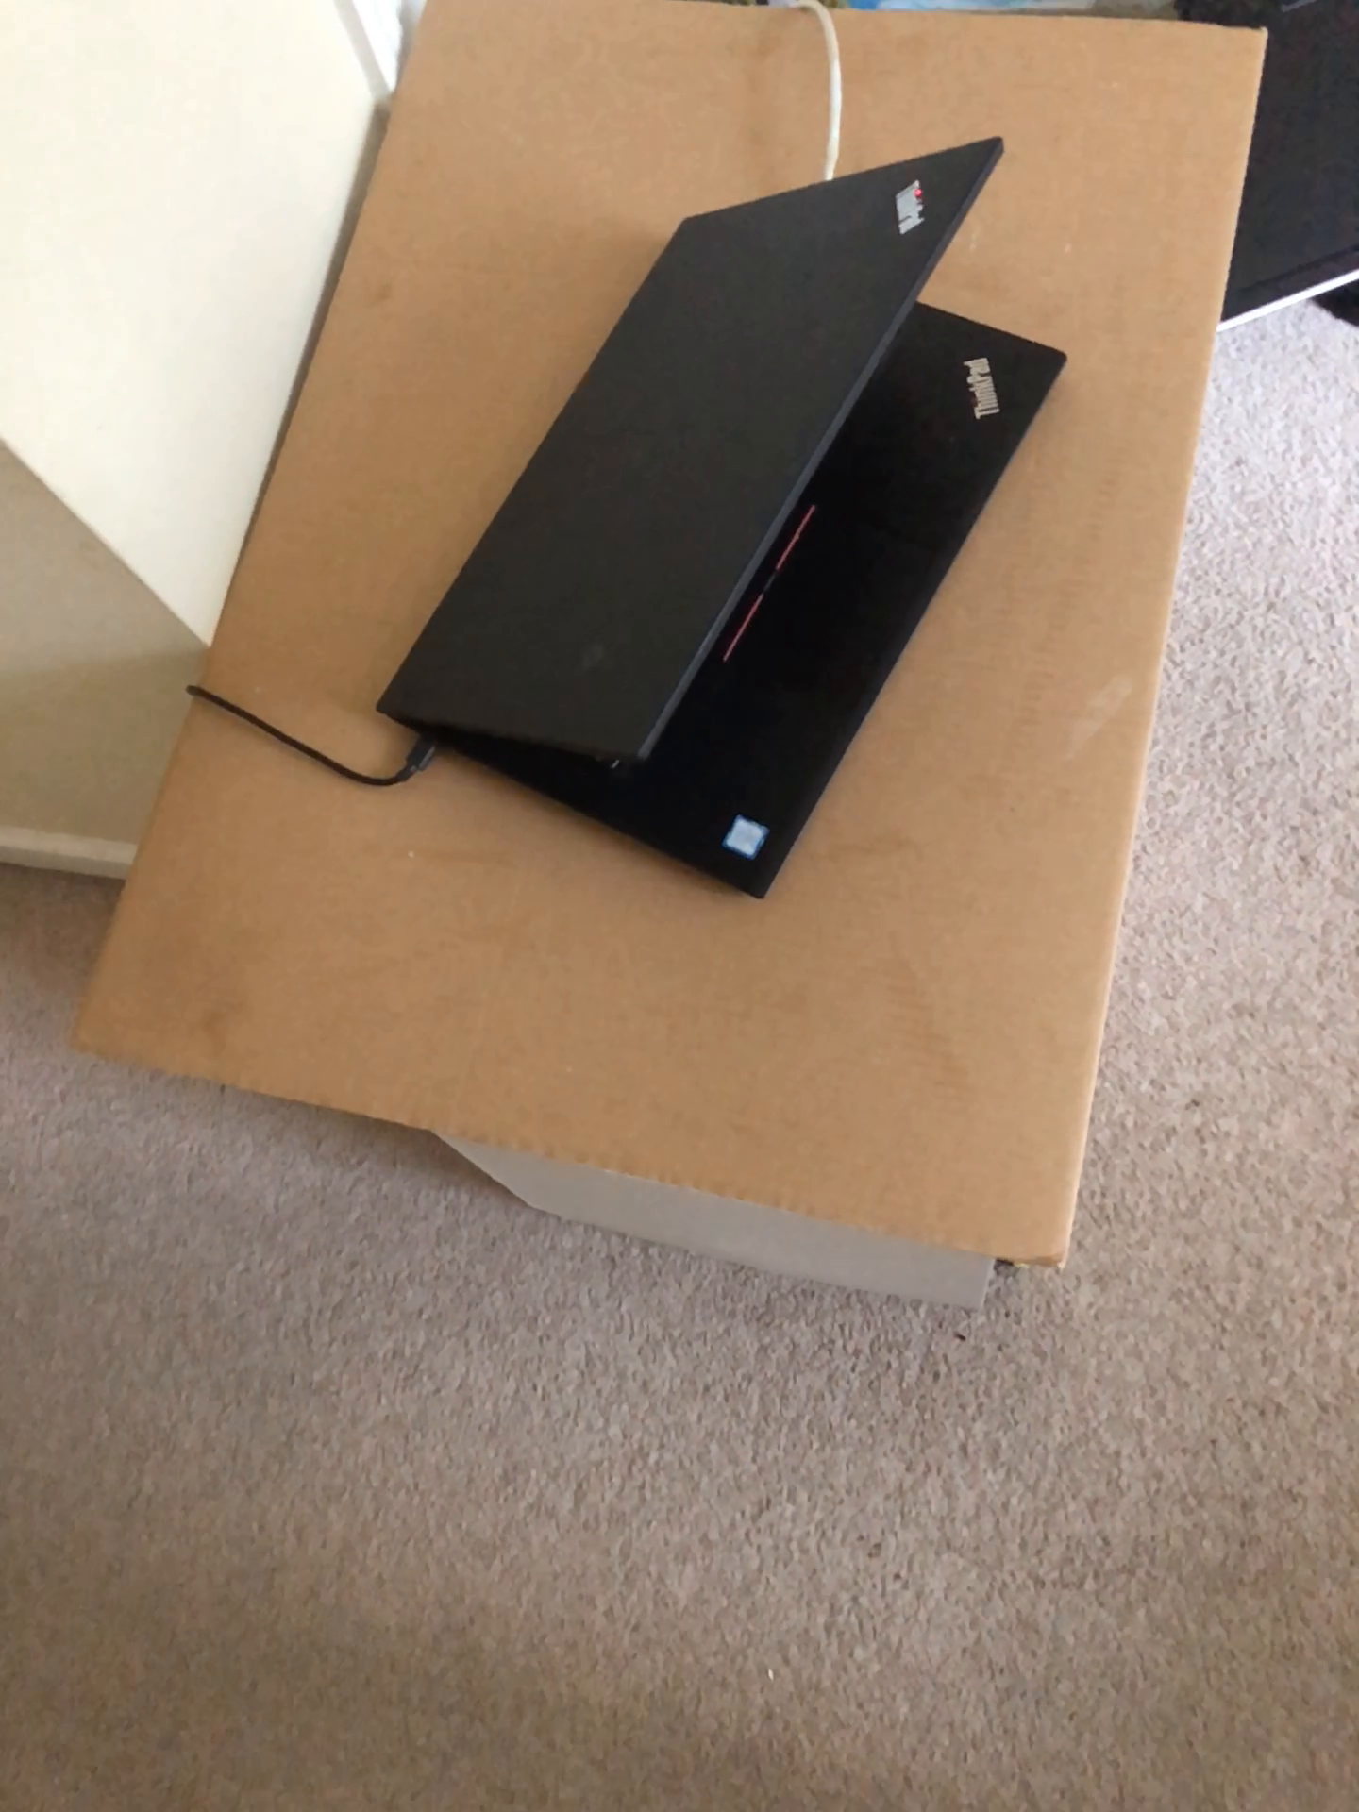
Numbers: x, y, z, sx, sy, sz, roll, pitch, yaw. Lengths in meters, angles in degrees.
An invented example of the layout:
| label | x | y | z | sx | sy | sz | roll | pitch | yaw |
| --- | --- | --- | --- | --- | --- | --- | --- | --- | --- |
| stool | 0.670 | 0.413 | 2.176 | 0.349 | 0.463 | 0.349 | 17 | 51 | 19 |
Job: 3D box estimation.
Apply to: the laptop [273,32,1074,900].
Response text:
| label | x | y | z | sx | sy | sz | roll | pitch | yaw |
| --- | --- | --- | --- | --- | --- | --- | --- | --- | --- |
| laptop | 0.009 | -0.216 | 0.728 | 0.231 | 0.140 | 0.334 | 26 | 78 | 18 |
